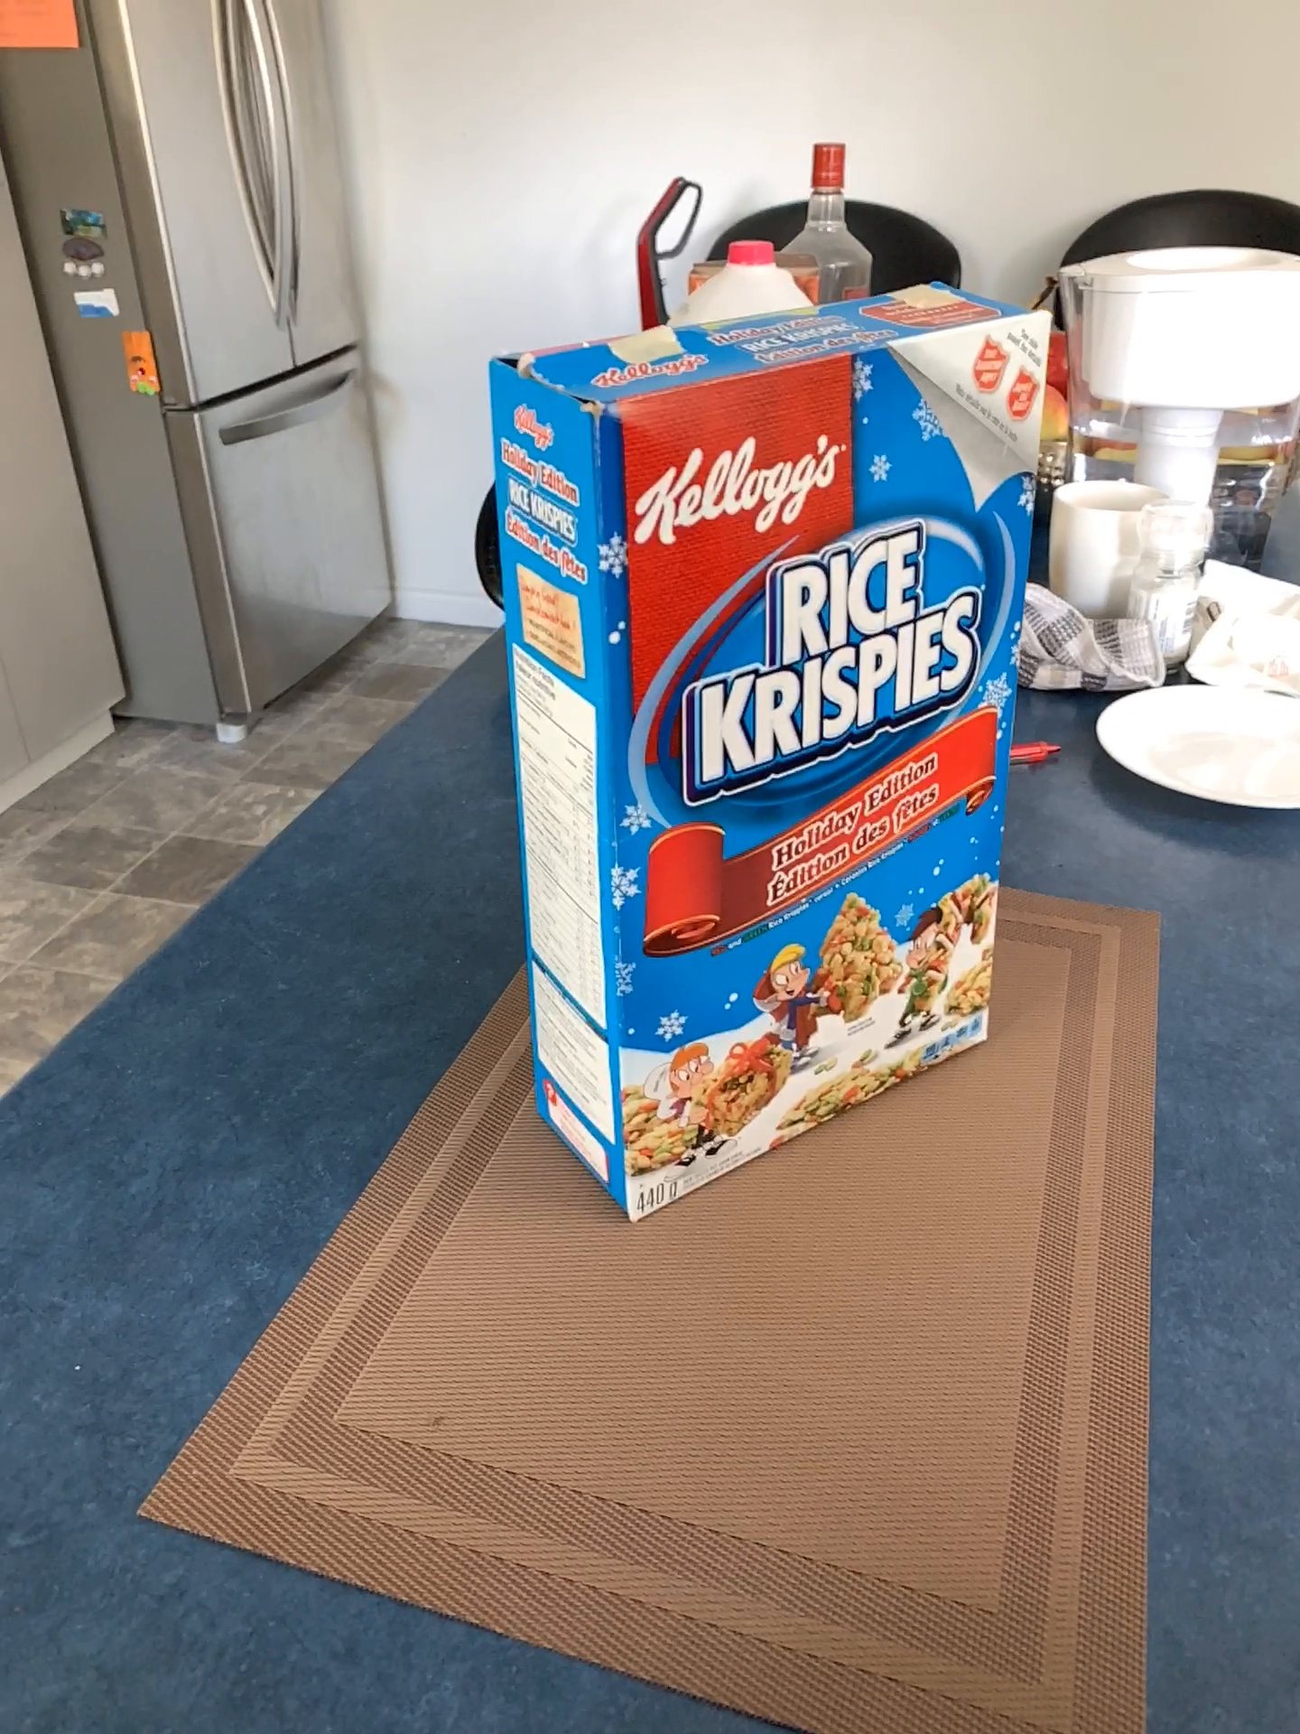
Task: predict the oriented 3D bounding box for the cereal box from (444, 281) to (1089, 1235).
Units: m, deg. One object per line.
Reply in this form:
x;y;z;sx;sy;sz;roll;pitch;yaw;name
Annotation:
0.052;-0.046;0.537;0.221;0.327;0.080;-20;33;-29;cereal box
